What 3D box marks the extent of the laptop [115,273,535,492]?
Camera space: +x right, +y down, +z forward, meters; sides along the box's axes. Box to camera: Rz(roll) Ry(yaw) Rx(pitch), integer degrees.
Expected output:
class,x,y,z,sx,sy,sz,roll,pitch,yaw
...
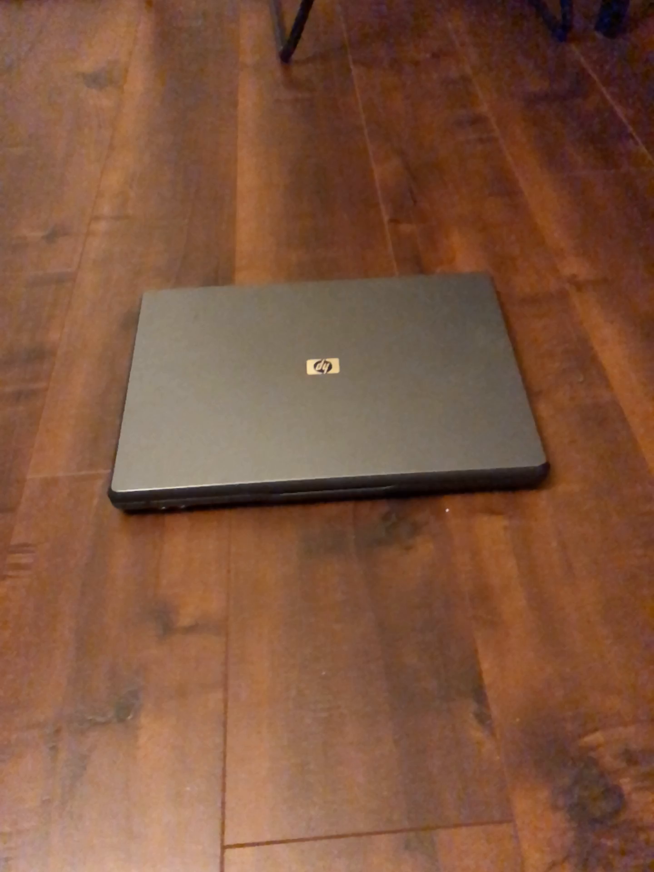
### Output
class,x,y,z,sx,sy,sz,roll,pitch,yaw
laptop,-0.006,-0.055,0.597,0.309,0.005,0.217,-4,51,-1
